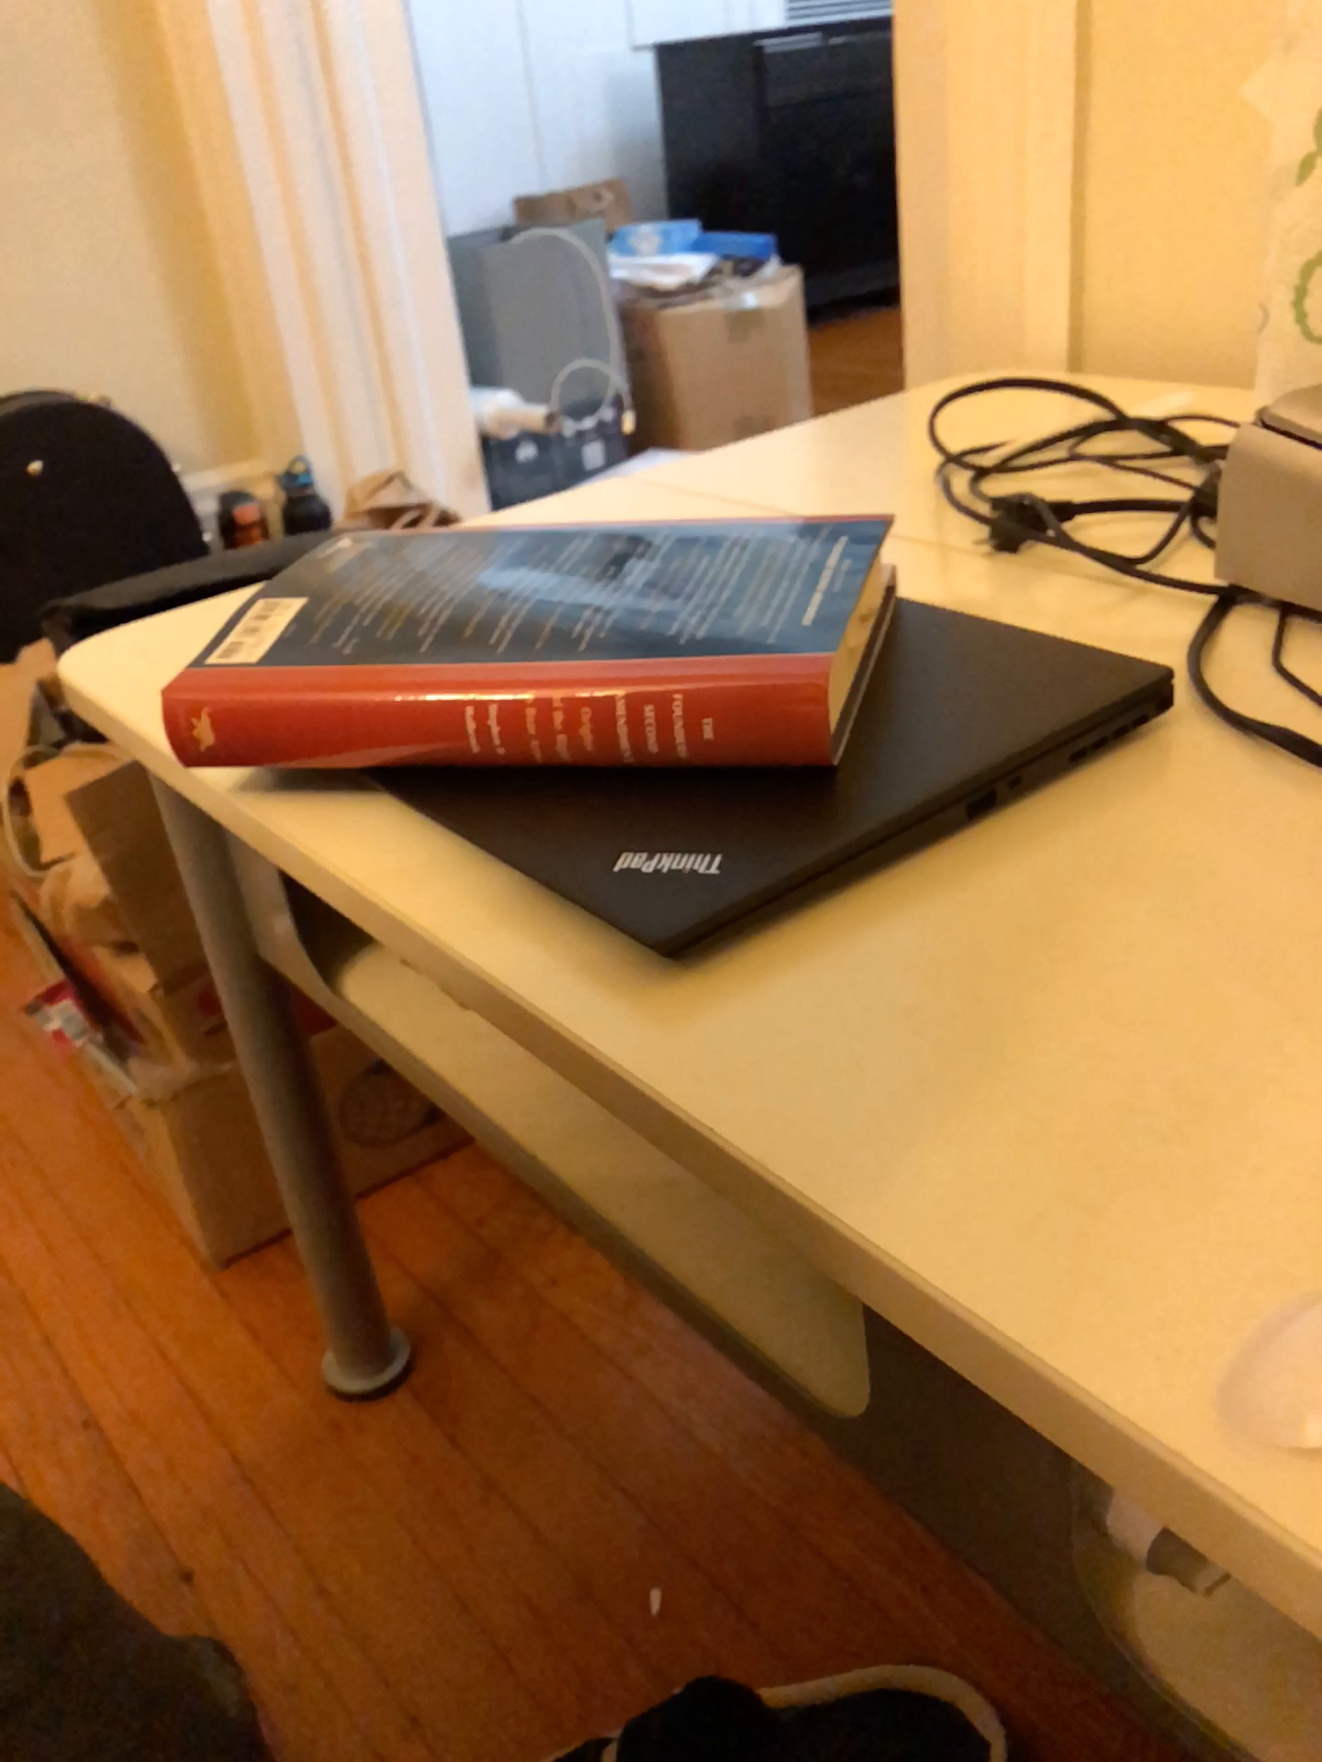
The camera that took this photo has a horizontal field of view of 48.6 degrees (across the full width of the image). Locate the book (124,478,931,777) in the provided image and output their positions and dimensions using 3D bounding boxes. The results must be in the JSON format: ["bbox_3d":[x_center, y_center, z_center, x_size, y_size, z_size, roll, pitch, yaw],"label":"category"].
[{"bbox_3d":[-0.036,-0.093,0.524,0.240,0.040,0.171,0,28,18],"label":"book"}]
